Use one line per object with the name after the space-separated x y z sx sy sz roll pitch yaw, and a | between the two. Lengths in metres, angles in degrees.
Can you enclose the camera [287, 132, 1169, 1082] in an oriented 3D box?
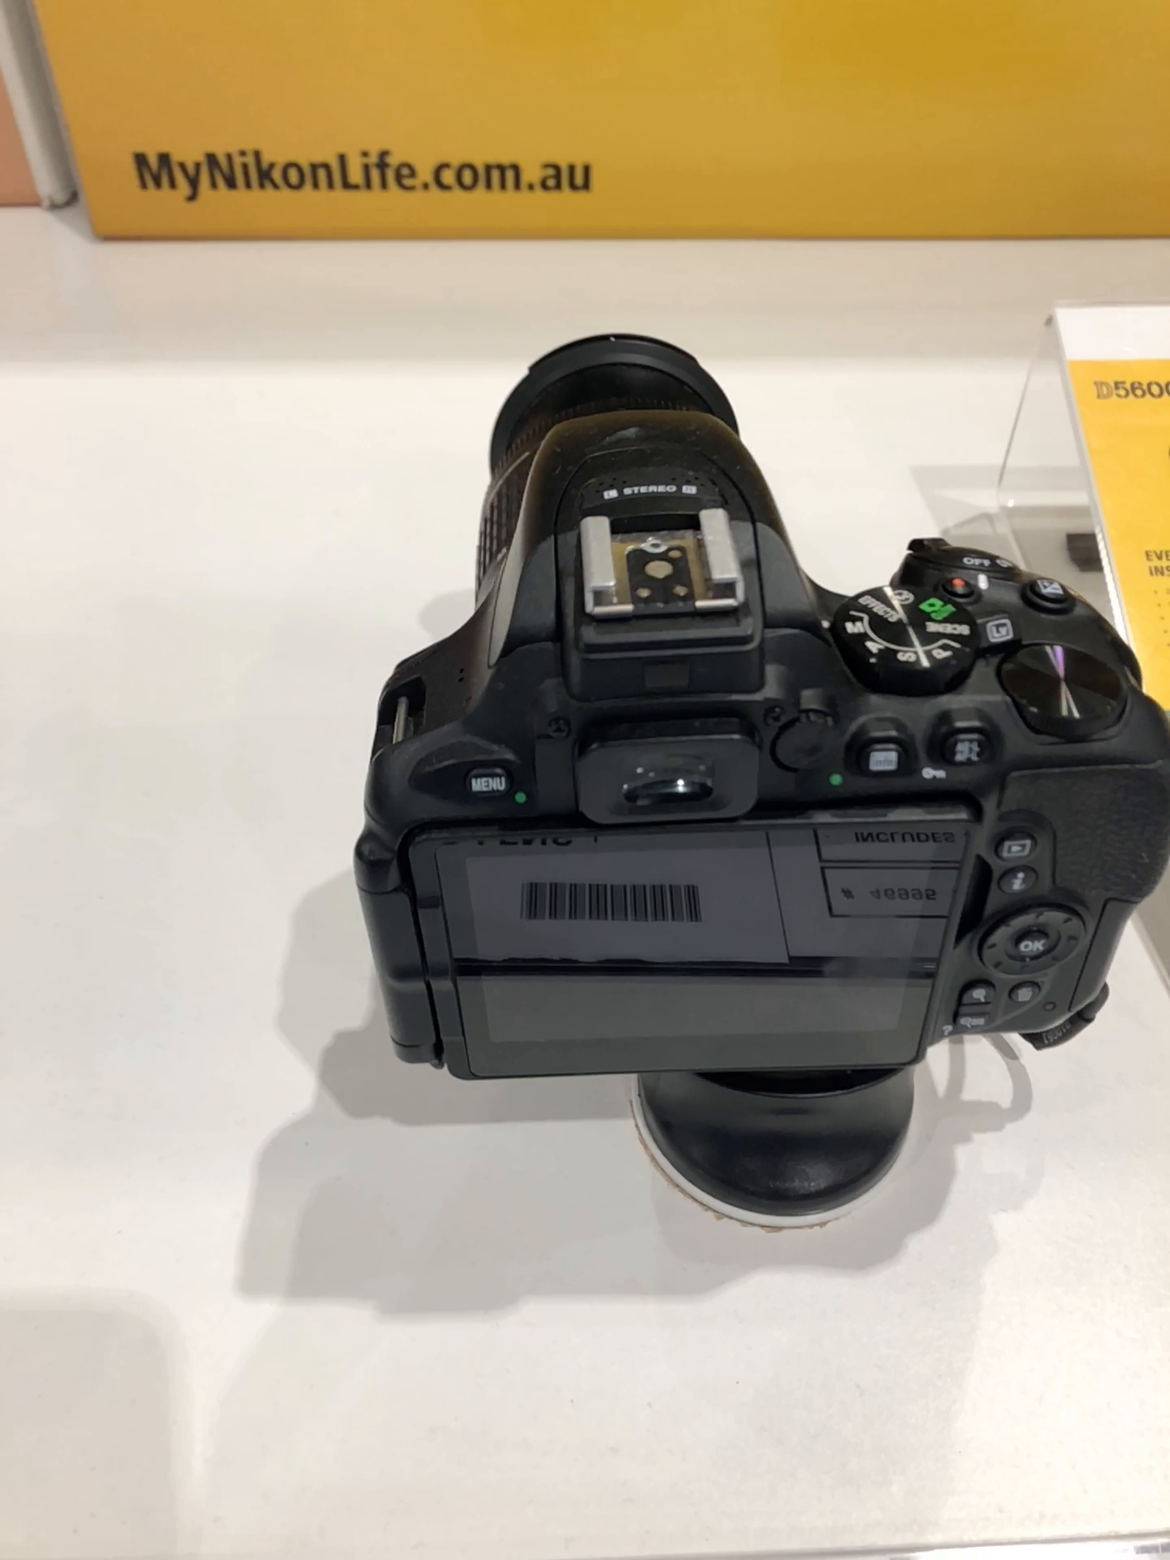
0.025 -0.041 0.249 0.127 0.097 0.163 -1 46 -1 | camera
